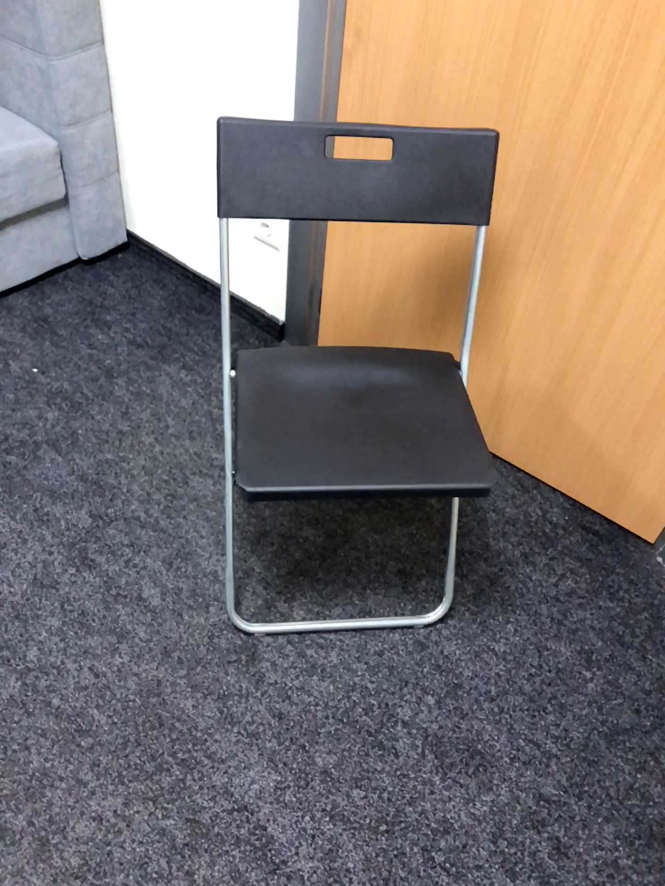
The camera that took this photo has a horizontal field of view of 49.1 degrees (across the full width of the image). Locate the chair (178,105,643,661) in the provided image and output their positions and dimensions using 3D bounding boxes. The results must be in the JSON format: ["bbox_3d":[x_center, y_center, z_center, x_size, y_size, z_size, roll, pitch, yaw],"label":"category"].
[{"bbox_3d":[0.037,-0.059,1.162,0.480,0.725,0.483,0,46,-7],"label":"chair"}]
